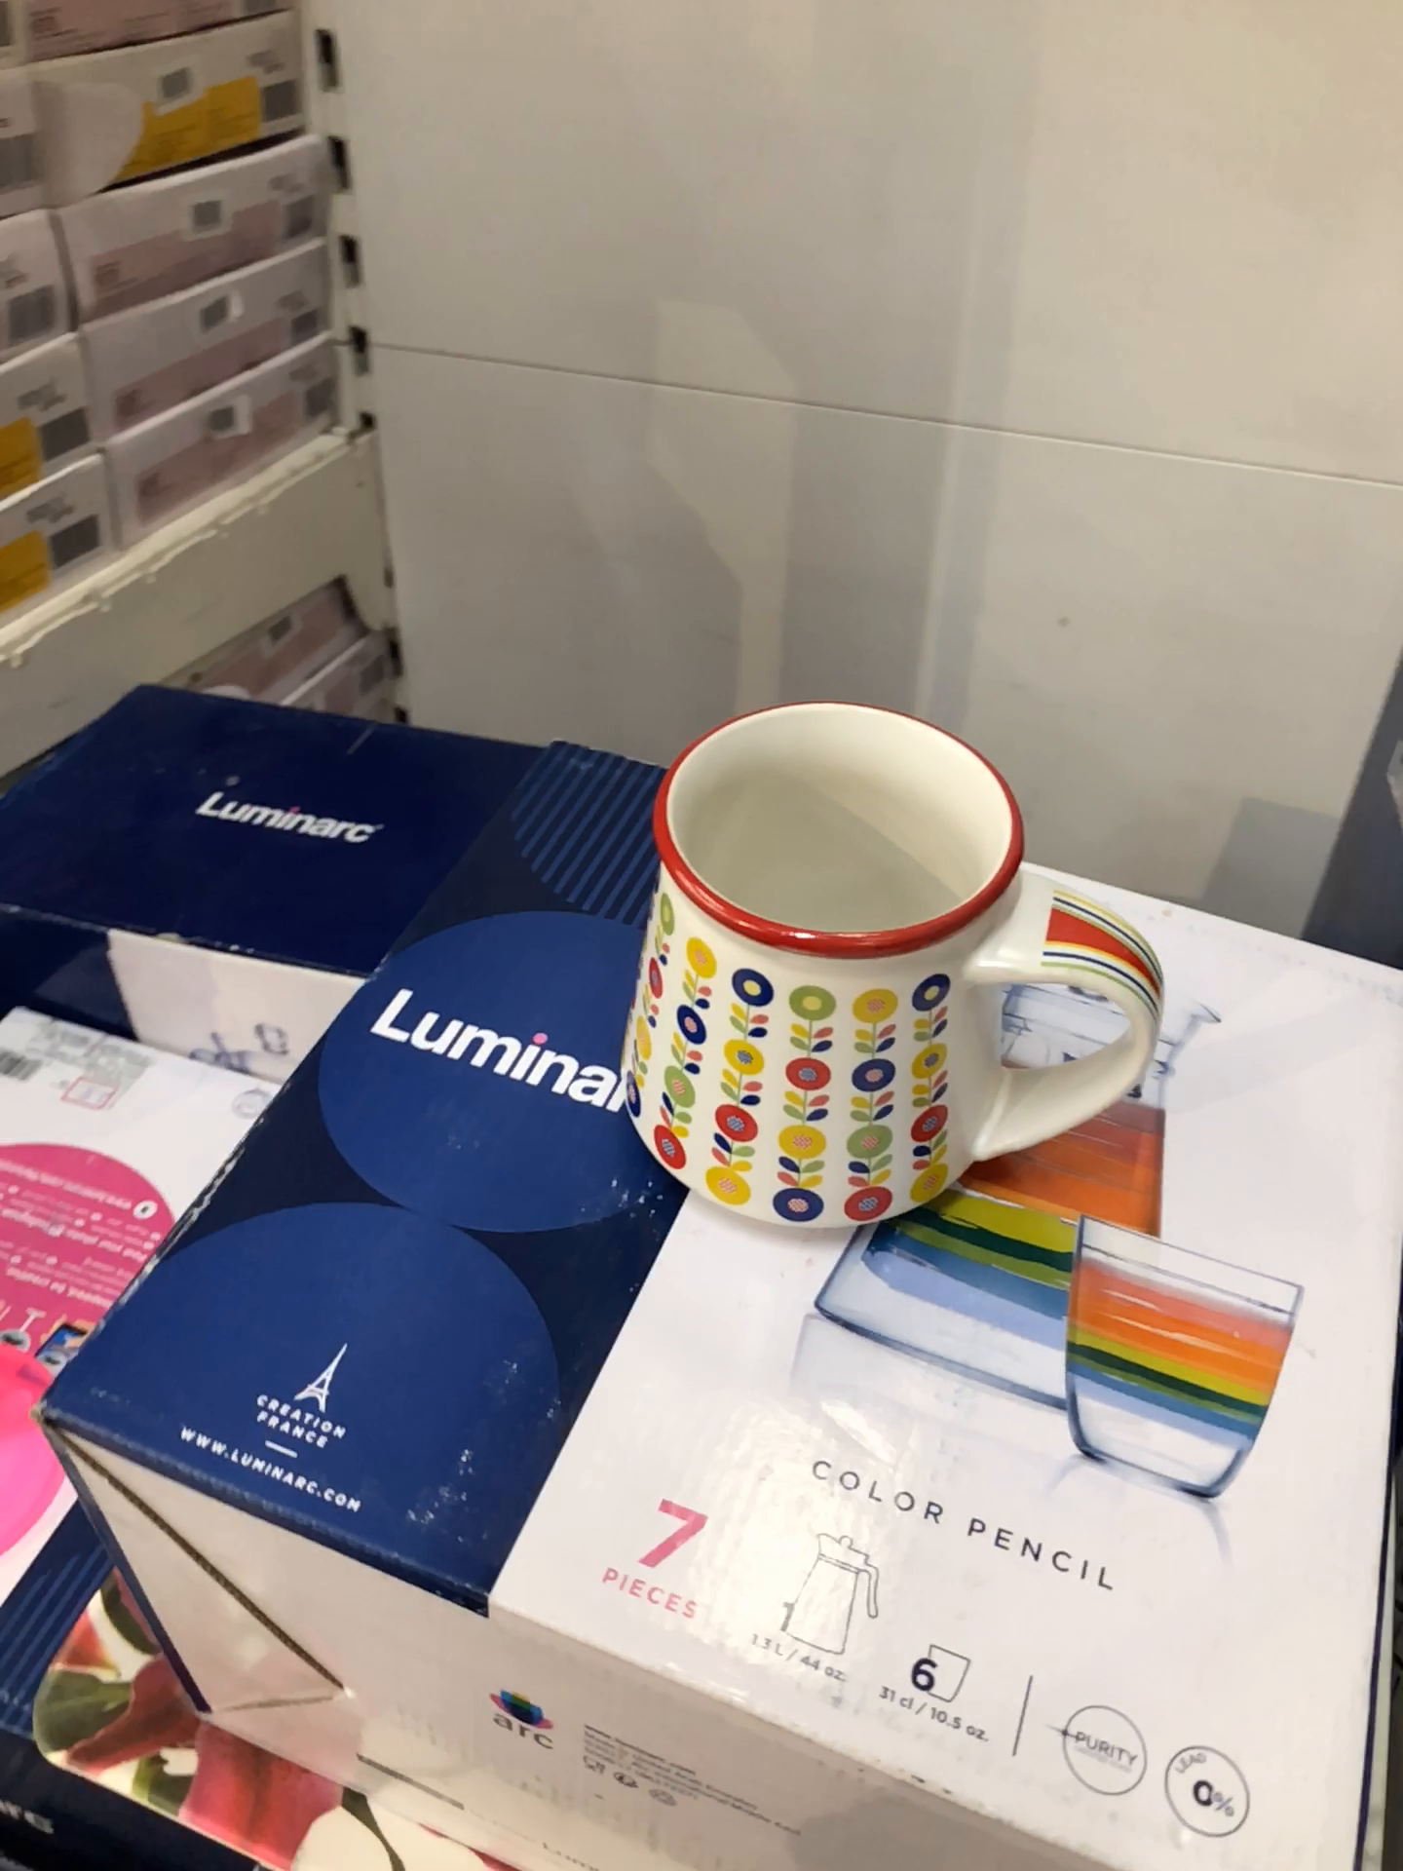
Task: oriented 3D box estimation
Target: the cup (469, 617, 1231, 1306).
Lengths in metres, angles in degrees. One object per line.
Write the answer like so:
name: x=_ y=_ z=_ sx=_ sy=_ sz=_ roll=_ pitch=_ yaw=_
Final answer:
cup: x=0.032 y=0.003 z=0.331 sx=0.130 sy=0.089 sz=0.081 roll=13 pitch=46 yaw=15
